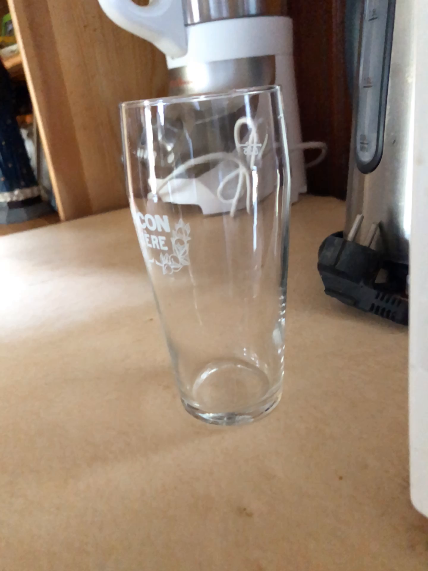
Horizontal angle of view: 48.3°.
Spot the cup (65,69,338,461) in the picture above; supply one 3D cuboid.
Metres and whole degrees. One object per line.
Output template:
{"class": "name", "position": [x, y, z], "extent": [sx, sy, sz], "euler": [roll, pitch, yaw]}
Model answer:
{"class": "cup", "position": [0.001, -0.014, 0.199], "extent": [0.070, 0.129, 0.070], "euler": [-6, 22, 2]}
